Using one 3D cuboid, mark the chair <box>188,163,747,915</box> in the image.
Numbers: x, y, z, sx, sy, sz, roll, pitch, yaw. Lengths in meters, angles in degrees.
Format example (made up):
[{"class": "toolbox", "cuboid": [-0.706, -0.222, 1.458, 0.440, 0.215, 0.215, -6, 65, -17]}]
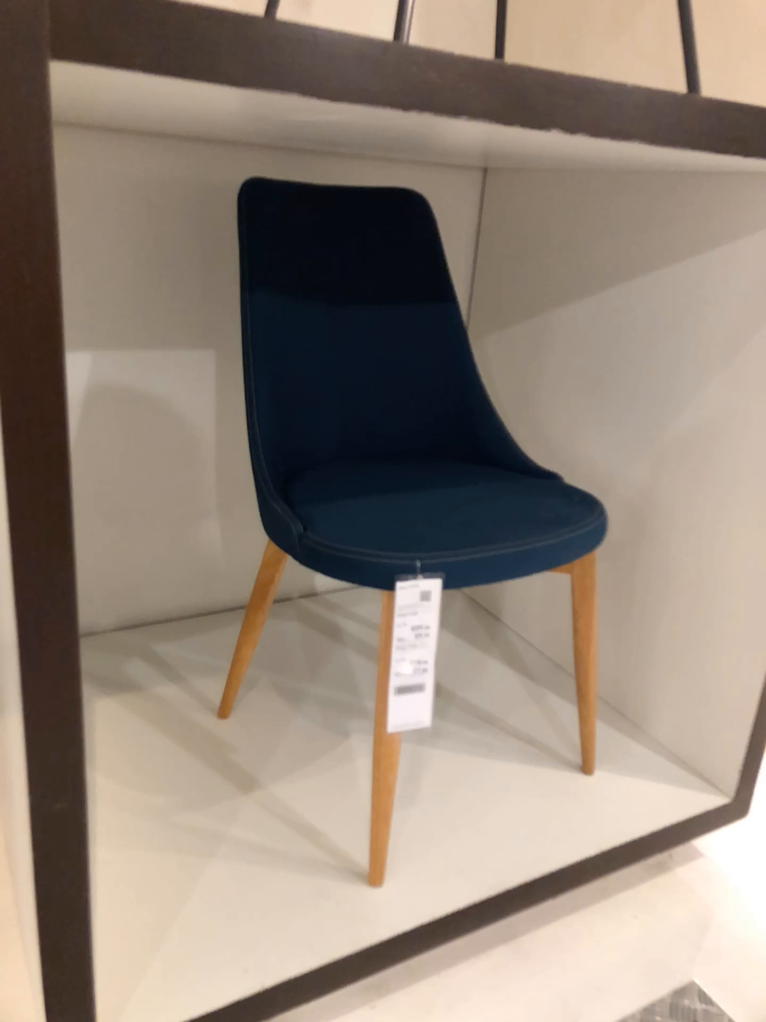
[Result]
[{"class": "chair", "cuboid": [0.064, -0.026, 1.244, 0.521, 0.864, 0.522, -10, 24, -34]}]
